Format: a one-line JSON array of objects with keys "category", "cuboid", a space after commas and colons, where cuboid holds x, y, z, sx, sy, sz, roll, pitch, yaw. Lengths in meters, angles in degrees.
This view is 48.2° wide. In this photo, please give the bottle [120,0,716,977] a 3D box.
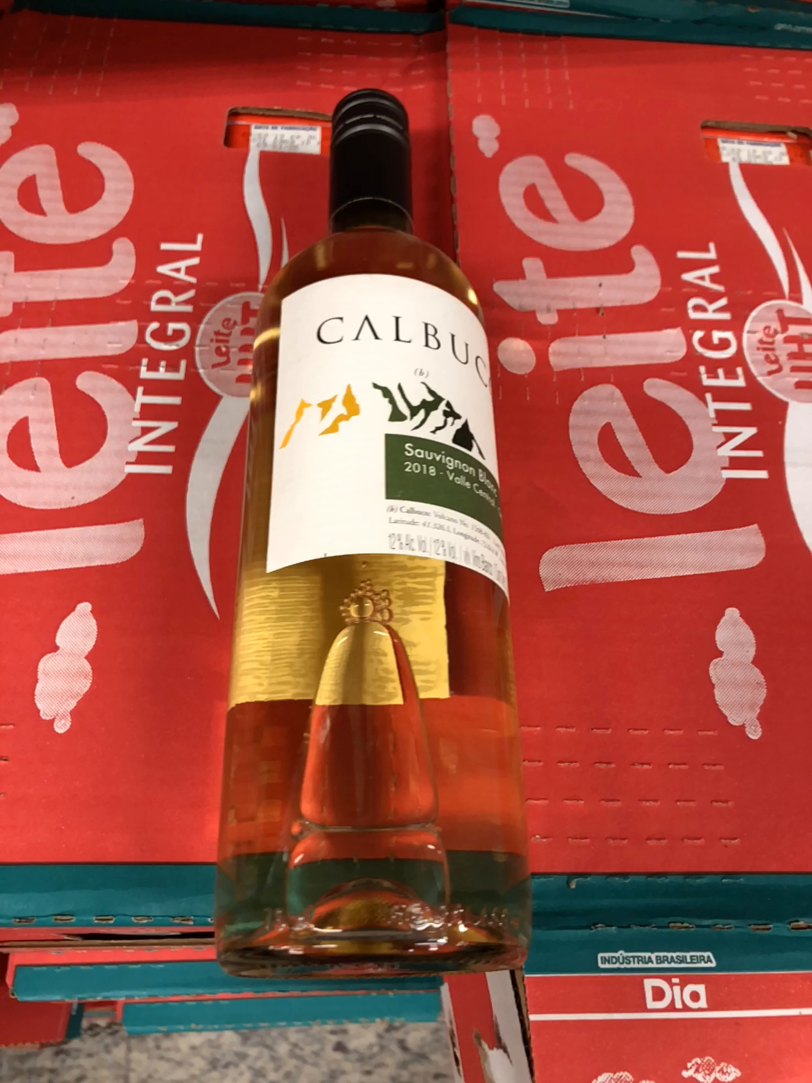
[{"category": "bottle", "cuboid": [-0.003, -0.036, 0.264, 0.090, 0.100, 0.291, 18, 59, -34]}]
